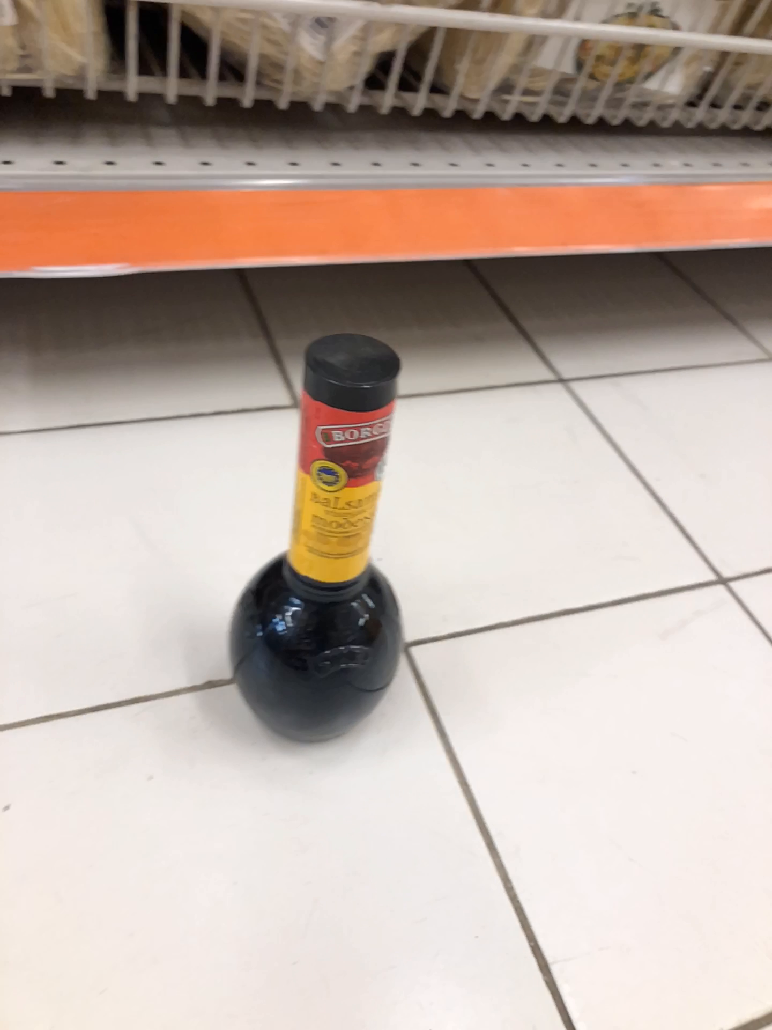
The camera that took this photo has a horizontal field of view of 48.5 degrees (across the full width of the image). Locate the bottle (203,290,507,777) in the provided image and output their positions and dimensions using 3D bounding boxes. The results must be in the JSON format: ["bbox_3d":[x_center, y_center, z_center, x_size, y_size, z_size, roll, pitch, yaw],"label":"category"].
[{"bbox_3d":[-0.025,0.013,0.342,0.080,0.179,0.080,6,43,-5],"label":"bottle"}]
